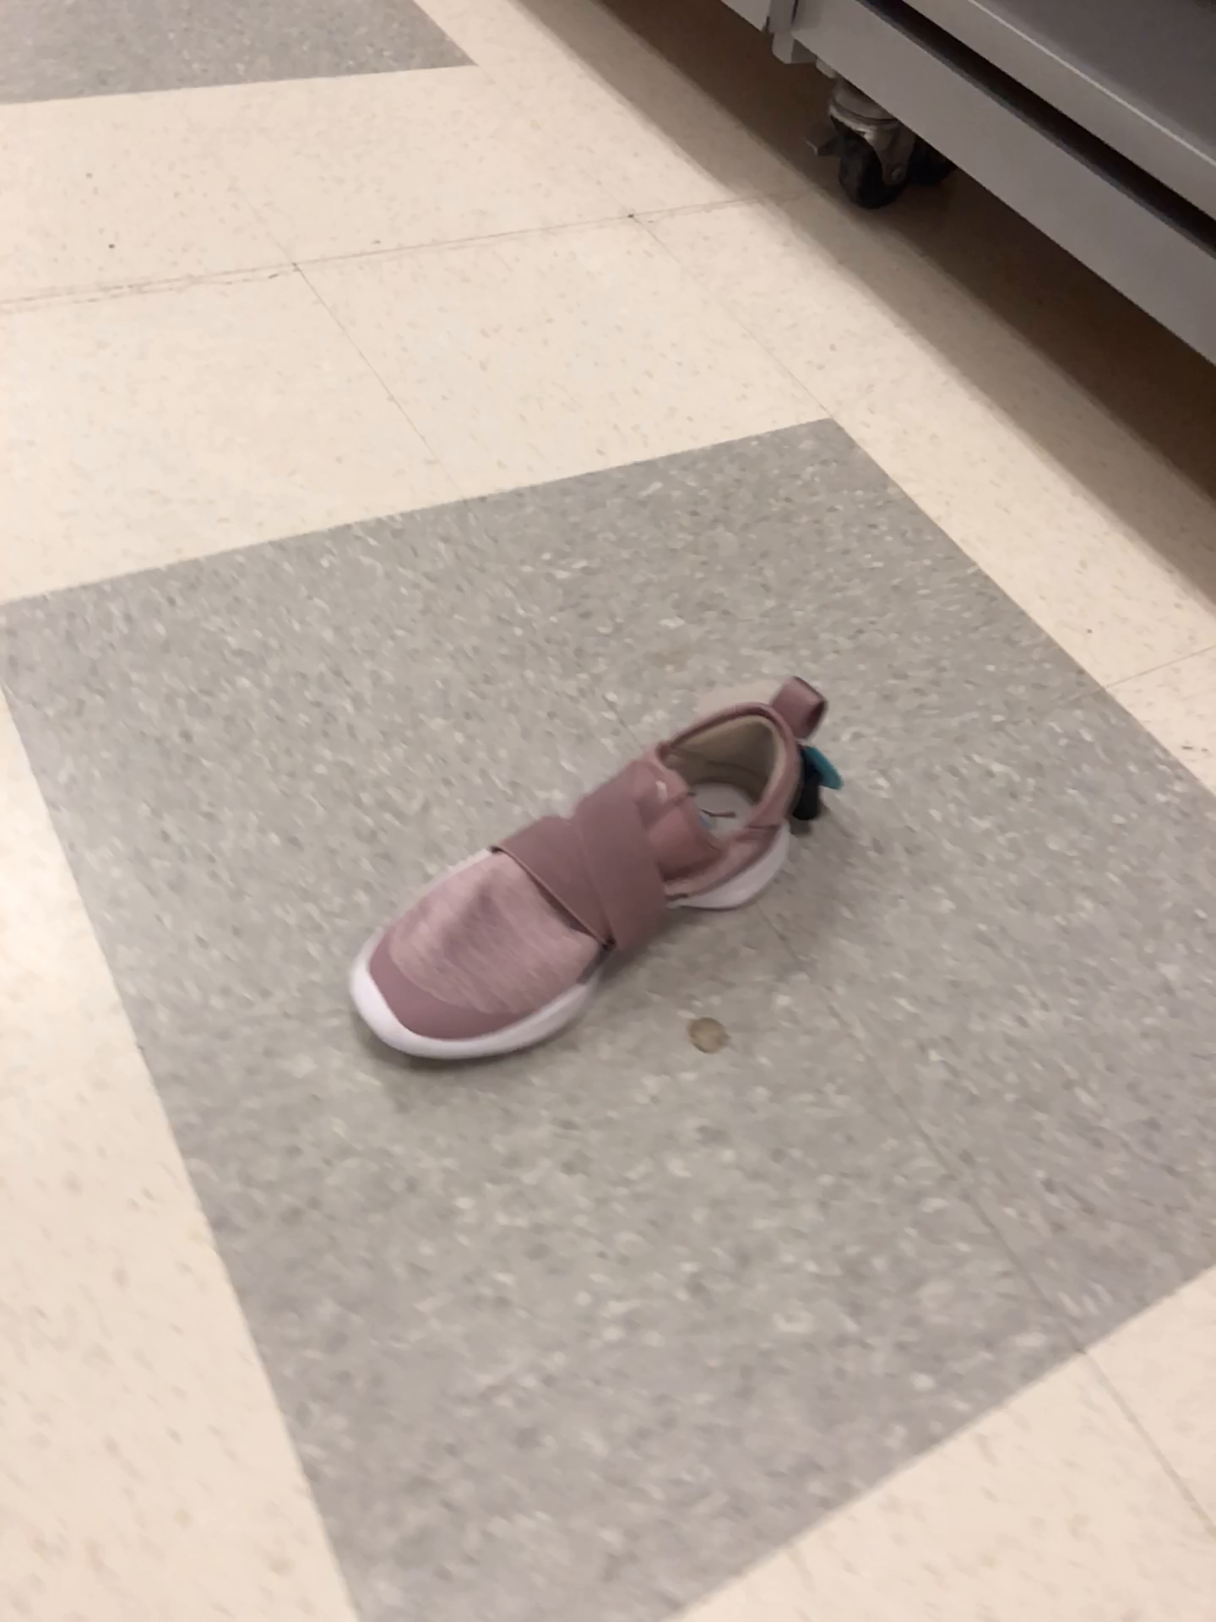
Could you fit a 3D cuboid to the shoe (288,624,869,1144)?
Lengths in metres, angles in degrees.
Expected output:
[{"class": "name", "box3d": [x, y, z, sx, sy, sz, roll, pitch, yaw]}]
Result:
[{"class": "shoe", "box3d": [-0.010, 0.025, 0.658, 0.272, 0.093, 0.105, -32, 62, -31]}]
